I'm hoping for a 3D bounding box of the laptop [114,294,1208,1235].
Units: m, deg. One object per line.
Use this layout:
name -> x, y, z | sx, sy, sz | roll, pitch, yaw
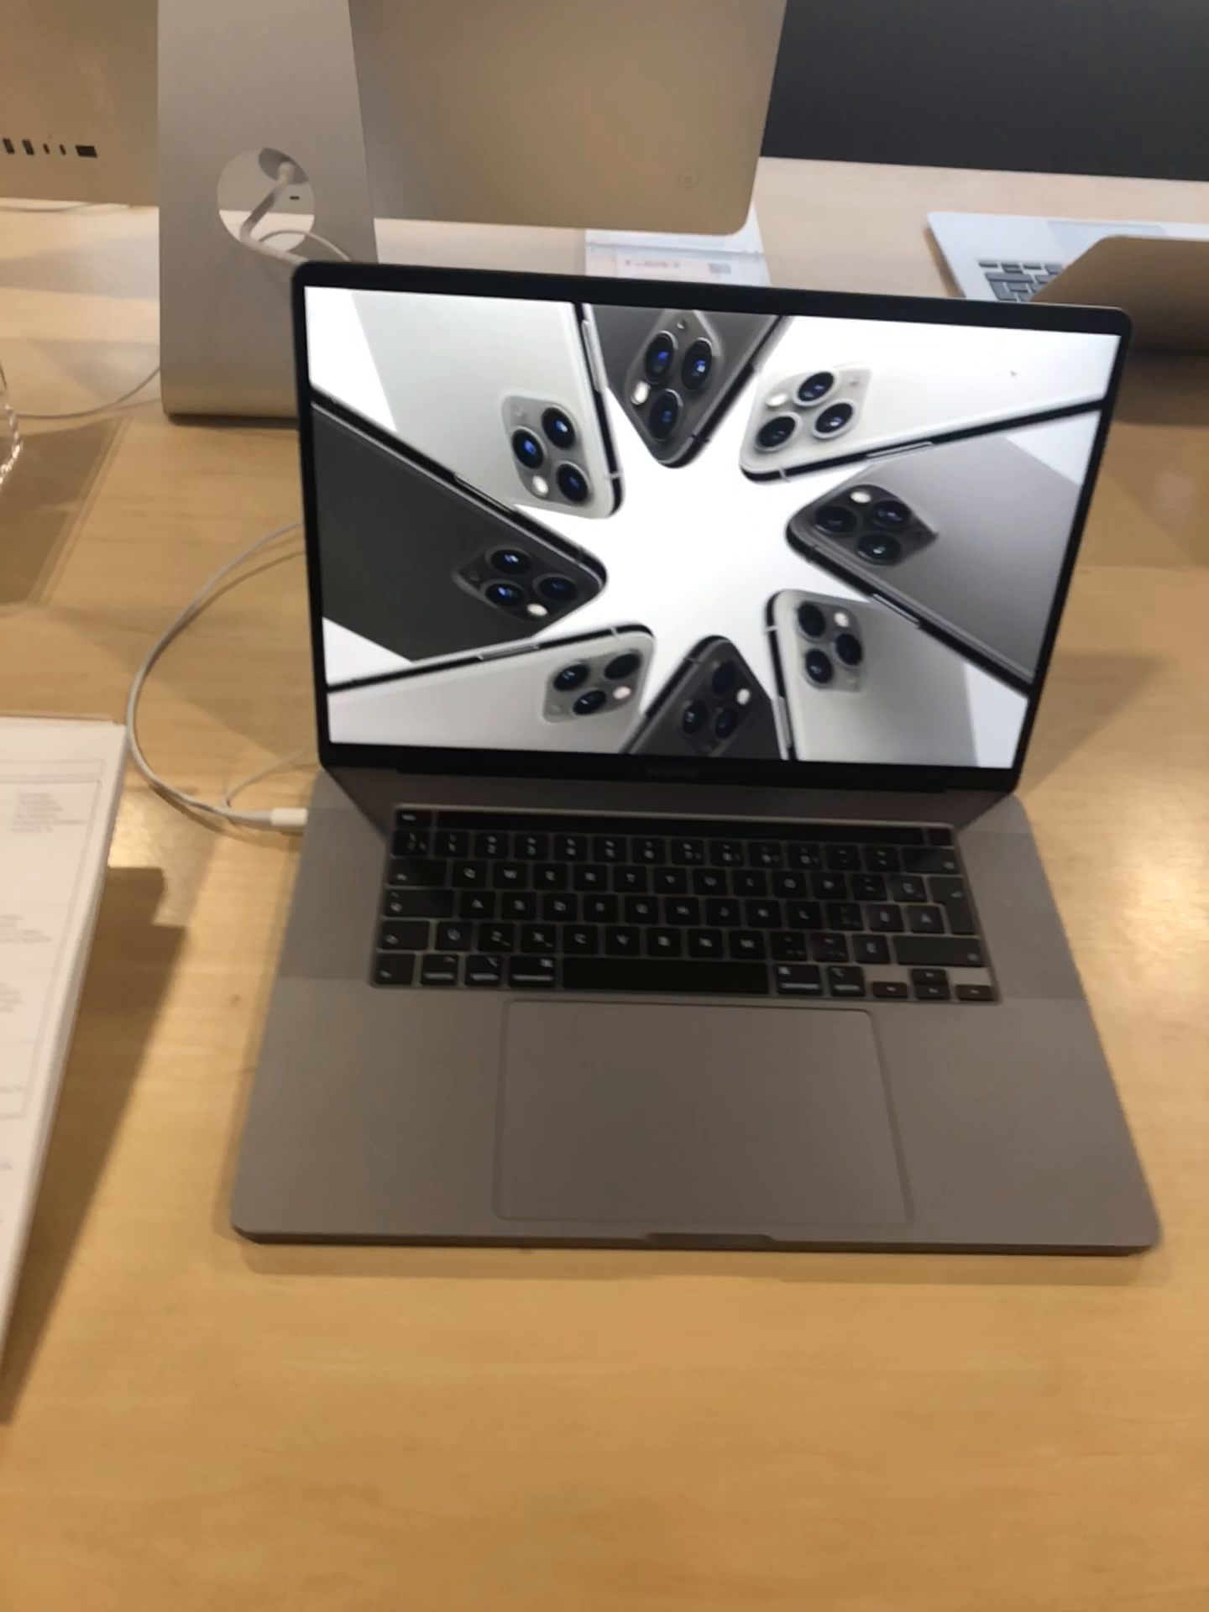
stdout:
laptop -> 0.045, -0.022, 0.524 | 0.344, 0.227, 0.292 | 1, 45, -3
